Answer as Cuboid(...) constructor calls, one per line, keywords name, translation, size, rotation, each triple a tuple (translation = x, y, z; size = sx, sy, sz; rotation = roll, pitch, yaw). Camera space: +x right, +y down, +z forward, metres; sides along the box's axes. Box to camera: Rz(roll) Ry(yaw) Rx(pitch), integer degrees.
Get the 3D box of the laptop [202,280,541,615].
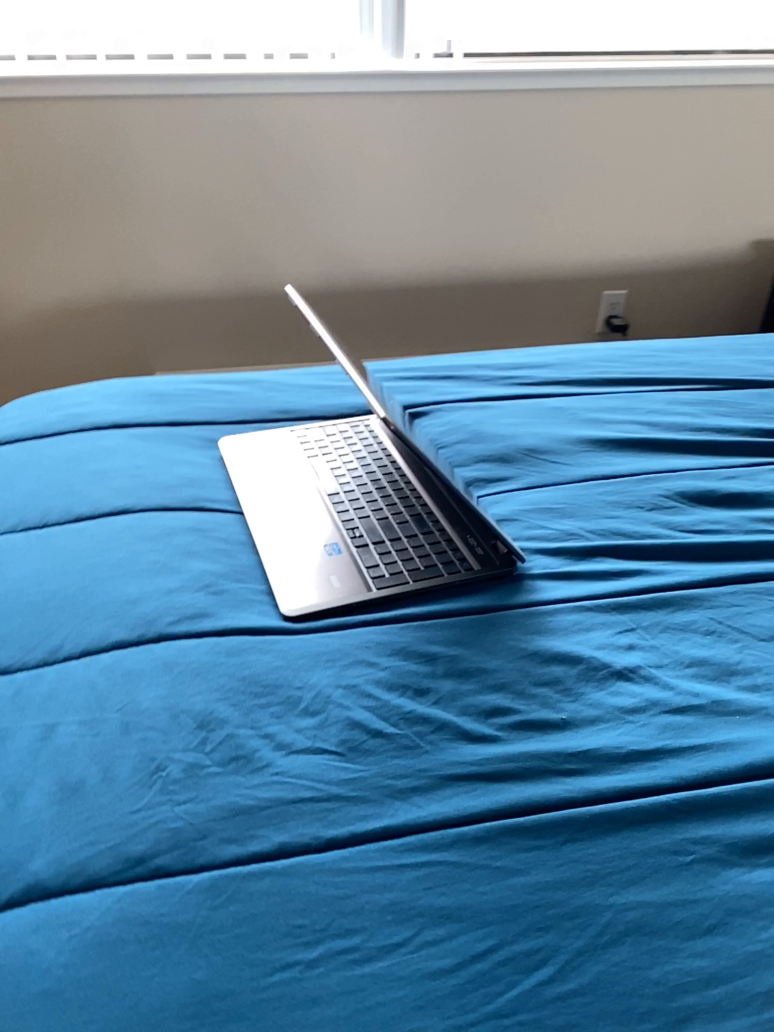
Cuboid(name="laptop", translation=(-0.041, -0.105, 0.878), size=(0.255, 0.192, 0.371), rotation=(-9, 35, -17))
